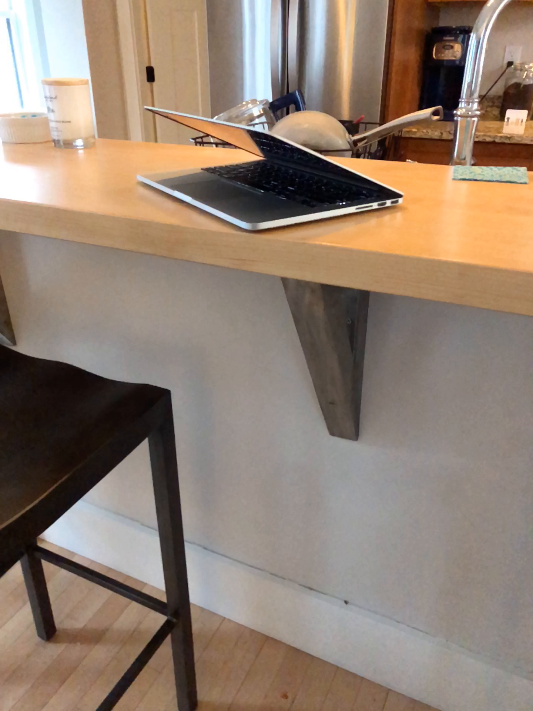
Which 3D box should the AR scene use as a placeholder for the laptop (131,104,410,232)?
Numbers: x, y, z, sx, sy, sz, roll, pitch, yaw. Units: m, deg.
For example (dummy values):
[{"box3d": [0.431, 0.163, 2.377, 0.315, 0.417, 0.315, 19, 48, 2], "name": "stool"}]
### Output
[{"box3d": [-0.010, -0.248, 0.725, 0.211, 0.084, 0.301, -17, 32, -28], "name": "laptop"}]
